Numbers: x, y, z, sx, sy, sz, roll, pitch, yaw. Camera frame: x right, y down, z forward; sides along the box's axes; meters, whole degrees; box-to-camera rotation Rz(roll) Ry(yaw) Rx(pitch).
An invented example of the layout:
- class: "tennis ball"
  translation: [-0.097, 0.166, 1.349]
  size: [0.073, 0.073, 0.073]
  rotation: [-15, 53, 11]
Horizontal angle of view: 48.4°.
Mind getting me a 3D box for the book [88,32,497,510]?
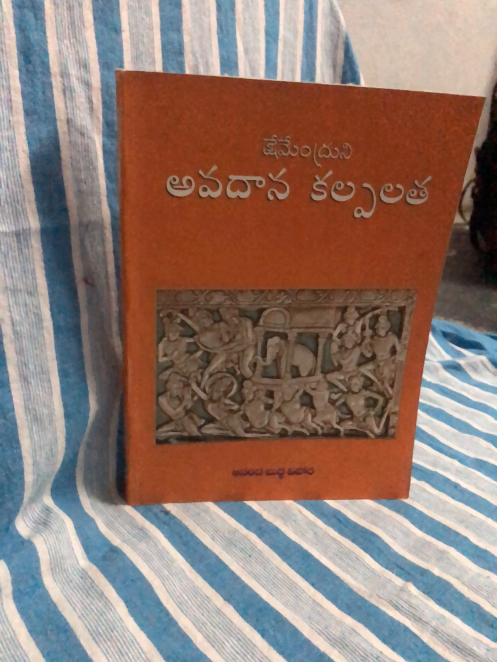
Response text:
- class: "book"
  translation: [0.017, -0.014, 0.284]
  size: [0.180, 0.229, 0.030]
  rotation: [1, 21, -9]
